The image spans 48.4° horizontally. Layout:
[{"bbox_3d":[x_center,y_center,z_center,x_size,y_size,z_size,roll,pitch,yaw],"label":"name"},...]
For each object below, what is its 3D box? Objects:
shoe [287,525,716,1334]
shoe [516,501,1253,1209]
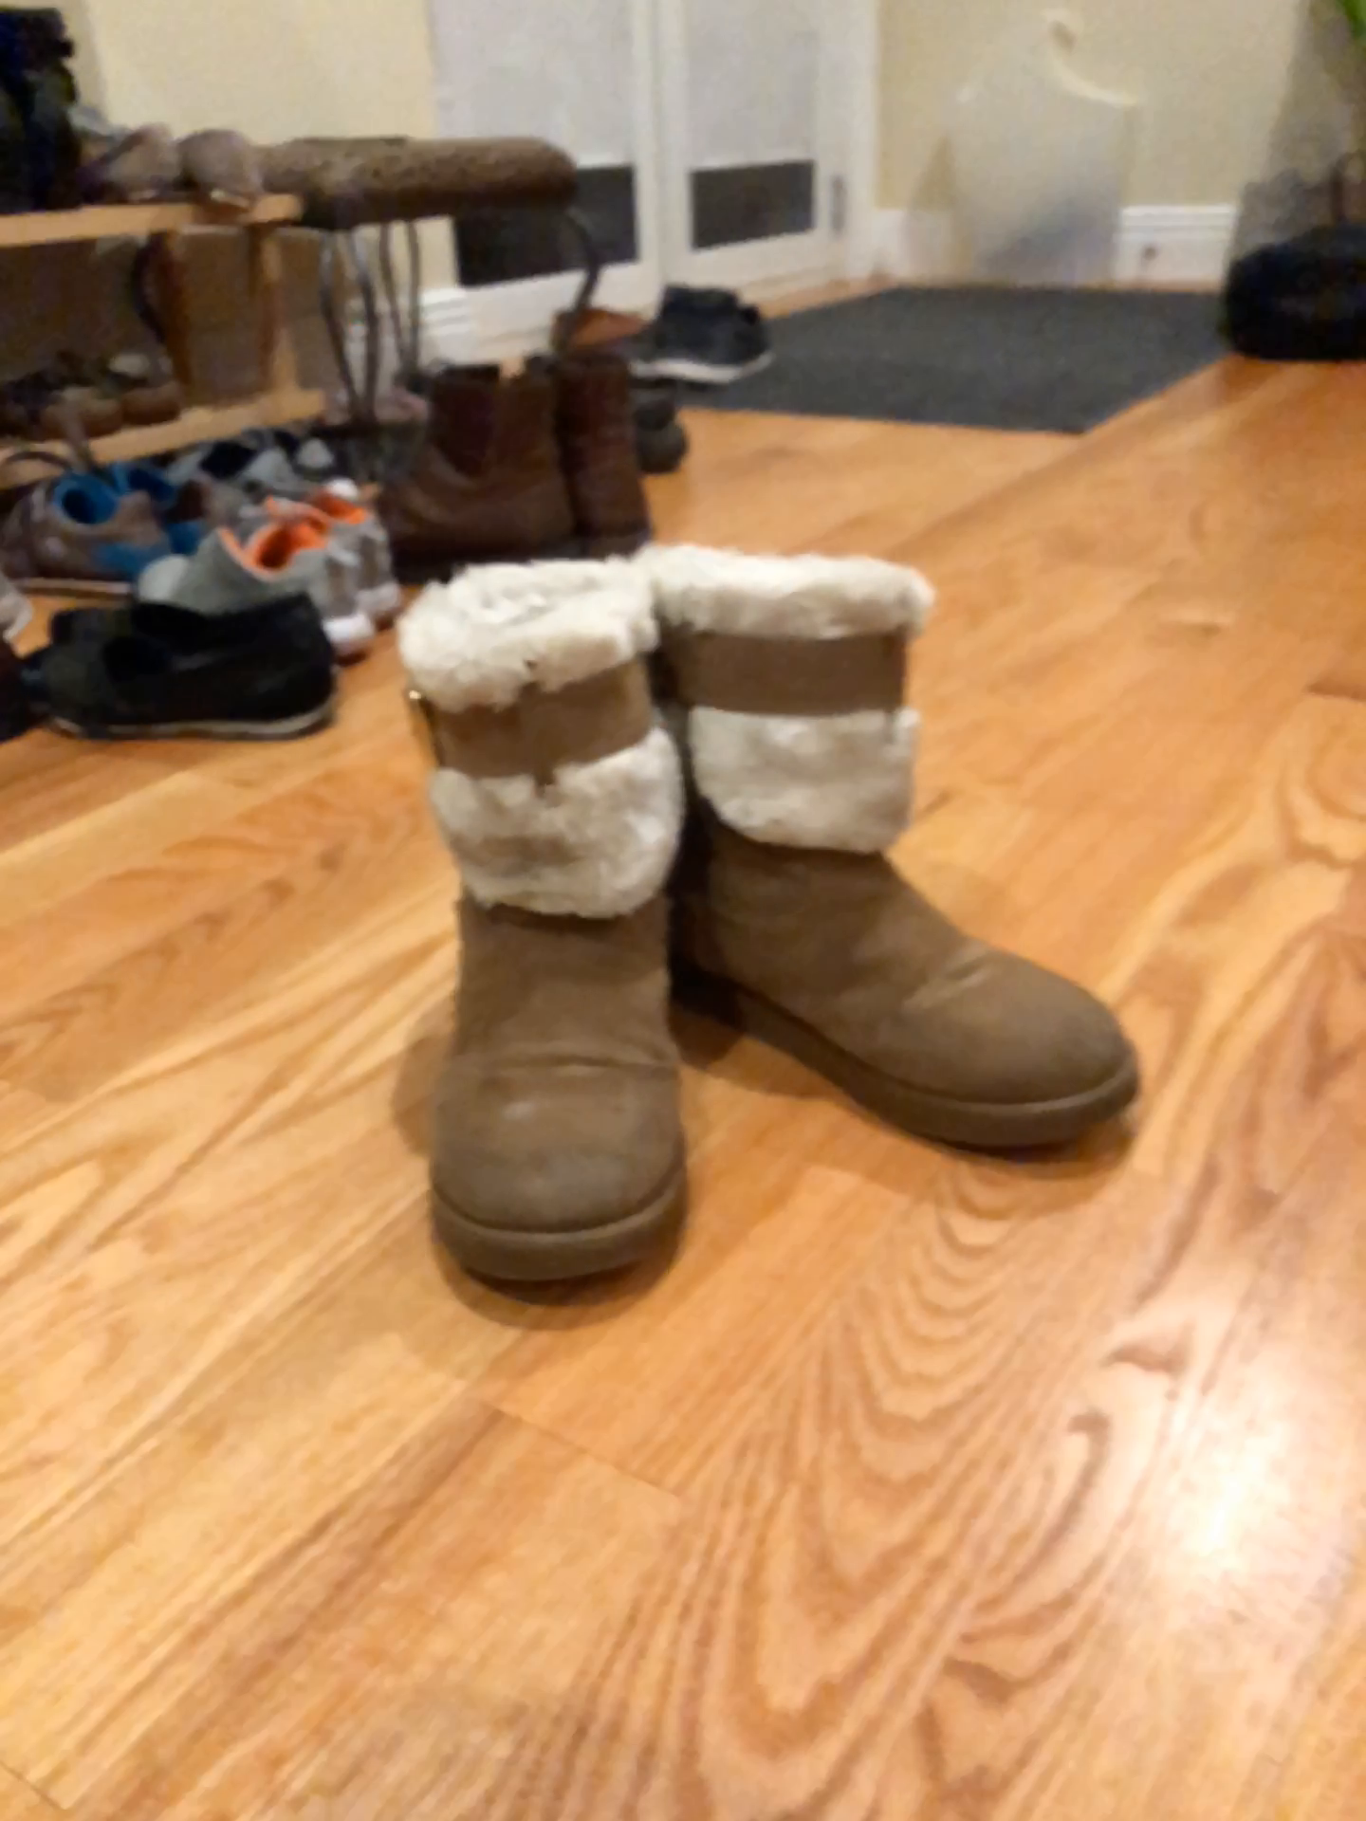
[{"bbox_3d":[-0.056,-0.013,0.558,0.106,0.193,0.255,-4,27,-3],"label":"shoe"},{"bbox_3d":[0.067,-0.039,0.605,0.113,0.193,0.255,-26,35,-38],"label":"shoe"}]
